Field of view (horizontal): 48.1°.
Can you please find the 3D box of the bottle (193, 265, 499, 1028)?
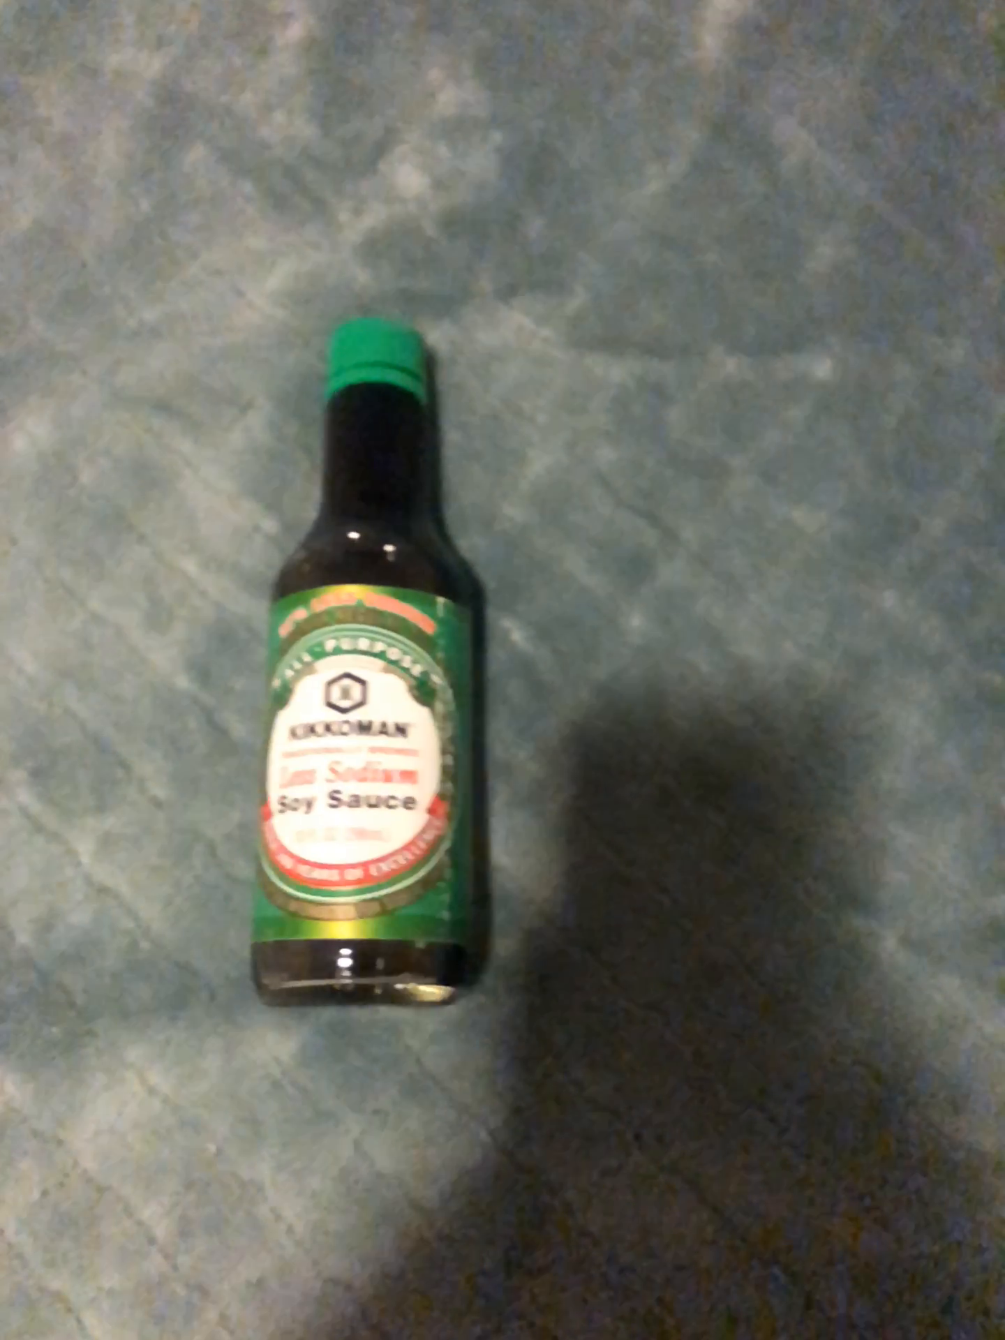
[{"bbox_3d":[-0.040,-0.008,0.326,0.070,0.060,0.210,-2,73,2],"label":"bottle"}]
